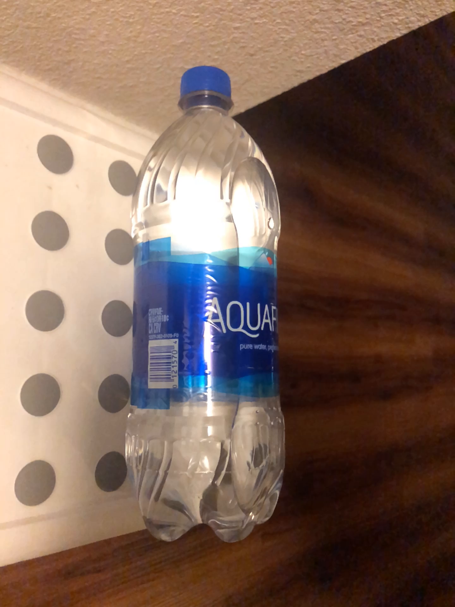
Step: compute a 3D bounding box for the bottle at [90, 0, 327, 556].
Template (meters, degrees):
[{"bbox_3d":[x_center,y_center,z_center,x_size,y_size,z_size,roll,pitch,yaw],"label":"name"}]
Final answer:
[{"bbox_3d":[-0.008,-0.013,0.281,0.091,0.079,0.250,11,75,-46],"label":"bottle"}]
